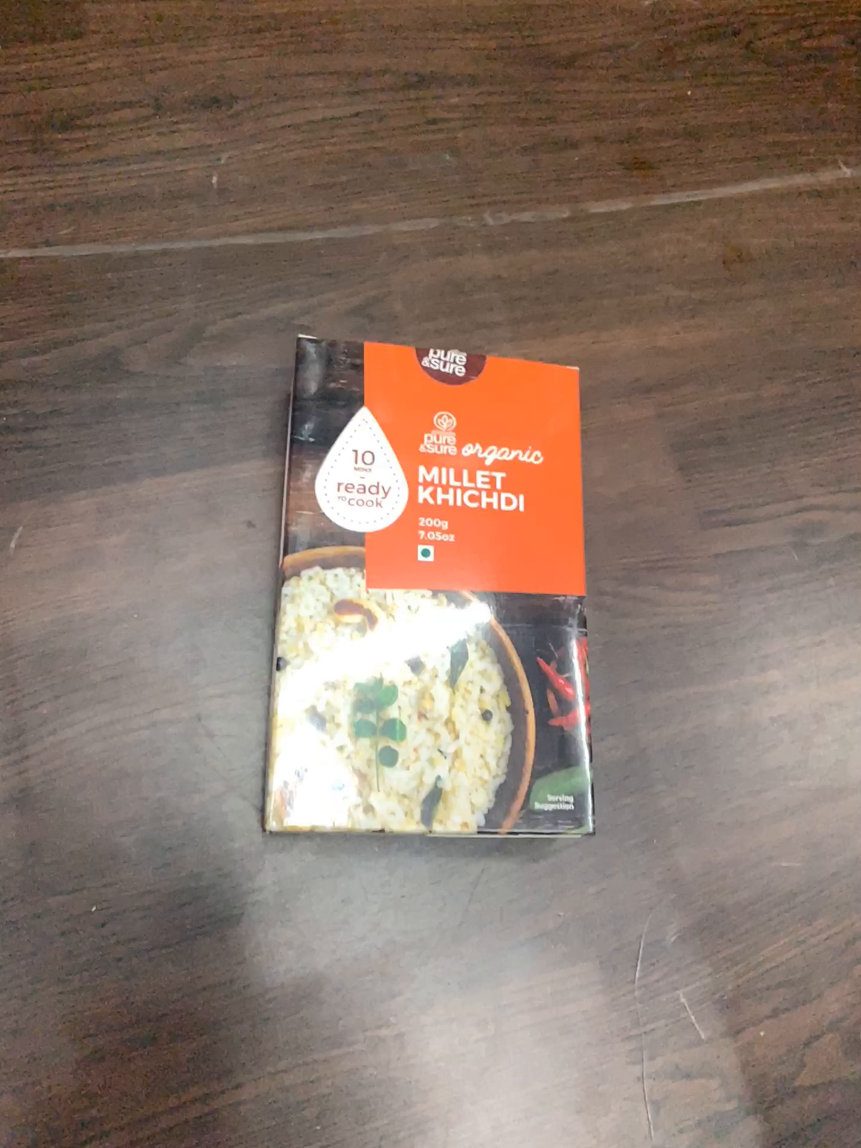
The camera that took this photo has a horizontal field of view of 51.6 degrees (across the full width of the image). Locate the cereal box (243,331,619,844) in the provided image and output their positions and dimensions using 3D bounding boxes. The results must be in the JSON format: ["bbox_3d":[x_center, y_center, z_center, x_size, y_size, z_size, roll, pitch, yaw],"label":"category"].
[{"bbox_3d":[0.001,0.005,0.300,0.110,0.040,0.160,4,72,-9],"label":"cereal box"}]
